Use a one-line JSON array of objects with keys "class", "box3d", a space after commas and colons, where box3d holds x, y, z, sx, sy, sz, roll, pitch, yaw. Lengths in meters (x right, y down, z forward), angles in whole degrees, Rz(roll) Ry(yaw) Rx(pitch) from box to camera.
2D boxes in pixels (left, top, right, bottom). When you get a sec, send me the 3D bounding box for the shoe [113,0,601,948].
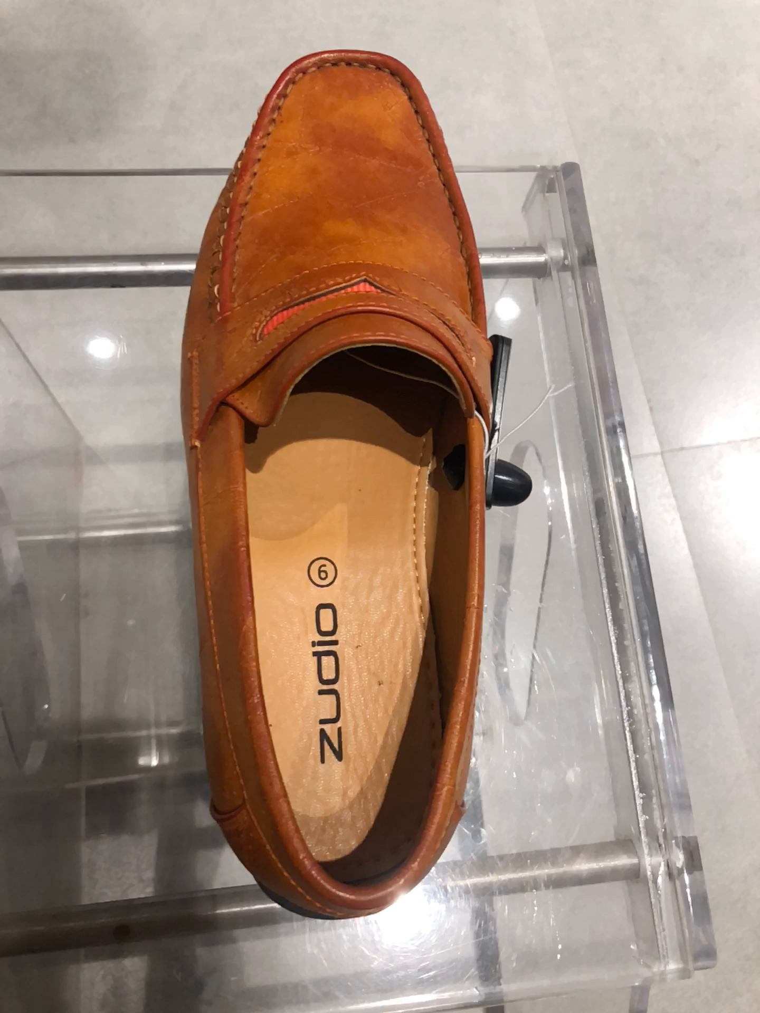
[{"class": "shoe", "box3d": [-0.014, -0.033, 0.271, 0.110, 0.090, 0.290, -1, 75, -6]}]
